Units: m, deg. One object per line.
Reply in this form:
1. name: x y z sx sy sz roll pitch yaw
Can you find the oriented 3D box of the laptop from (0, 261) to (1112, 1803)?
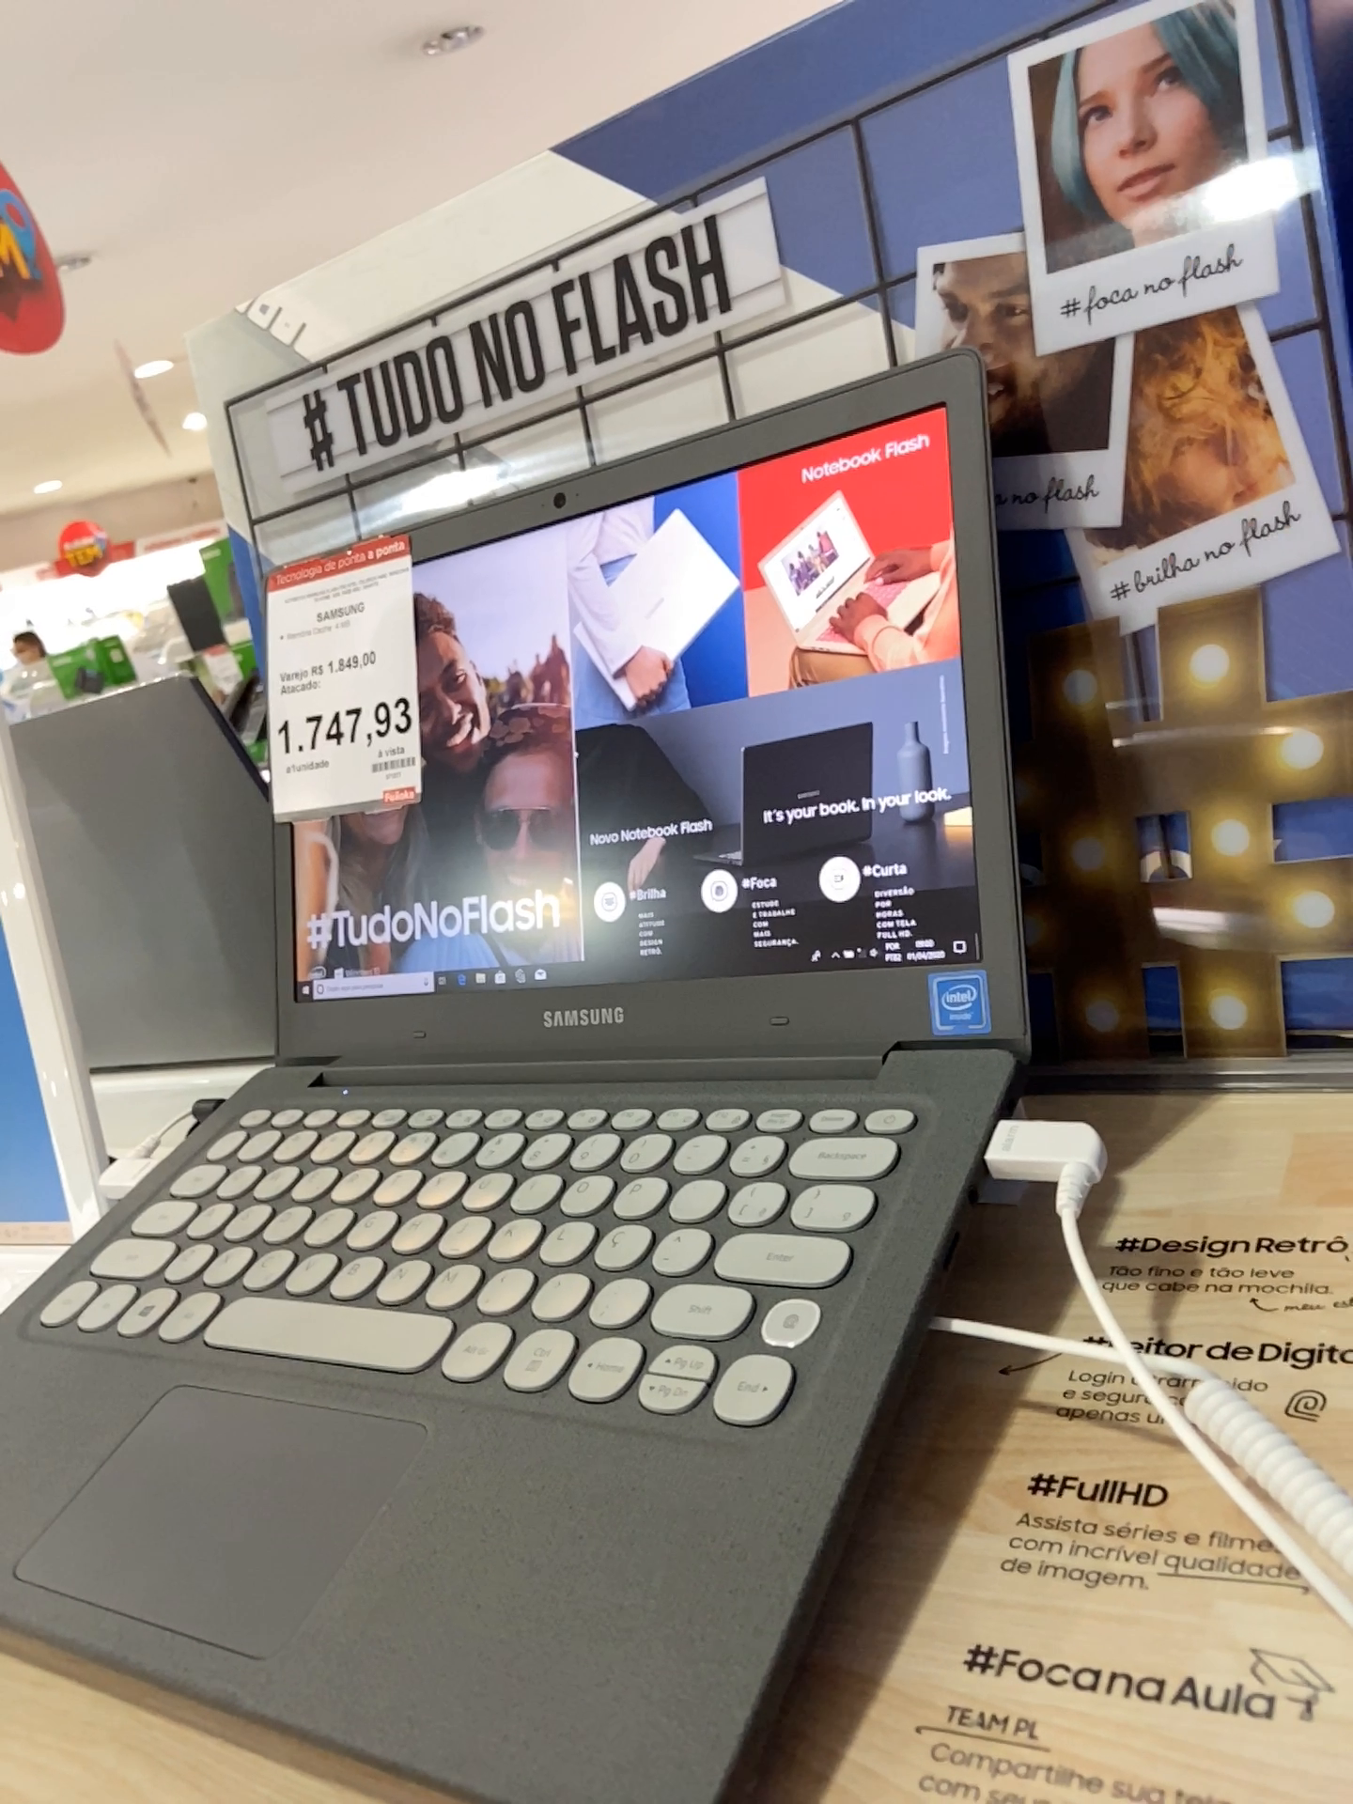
1. laptop: -0.086 -0.005 0.420 0.322 0.181 0.346 -7 27 34
